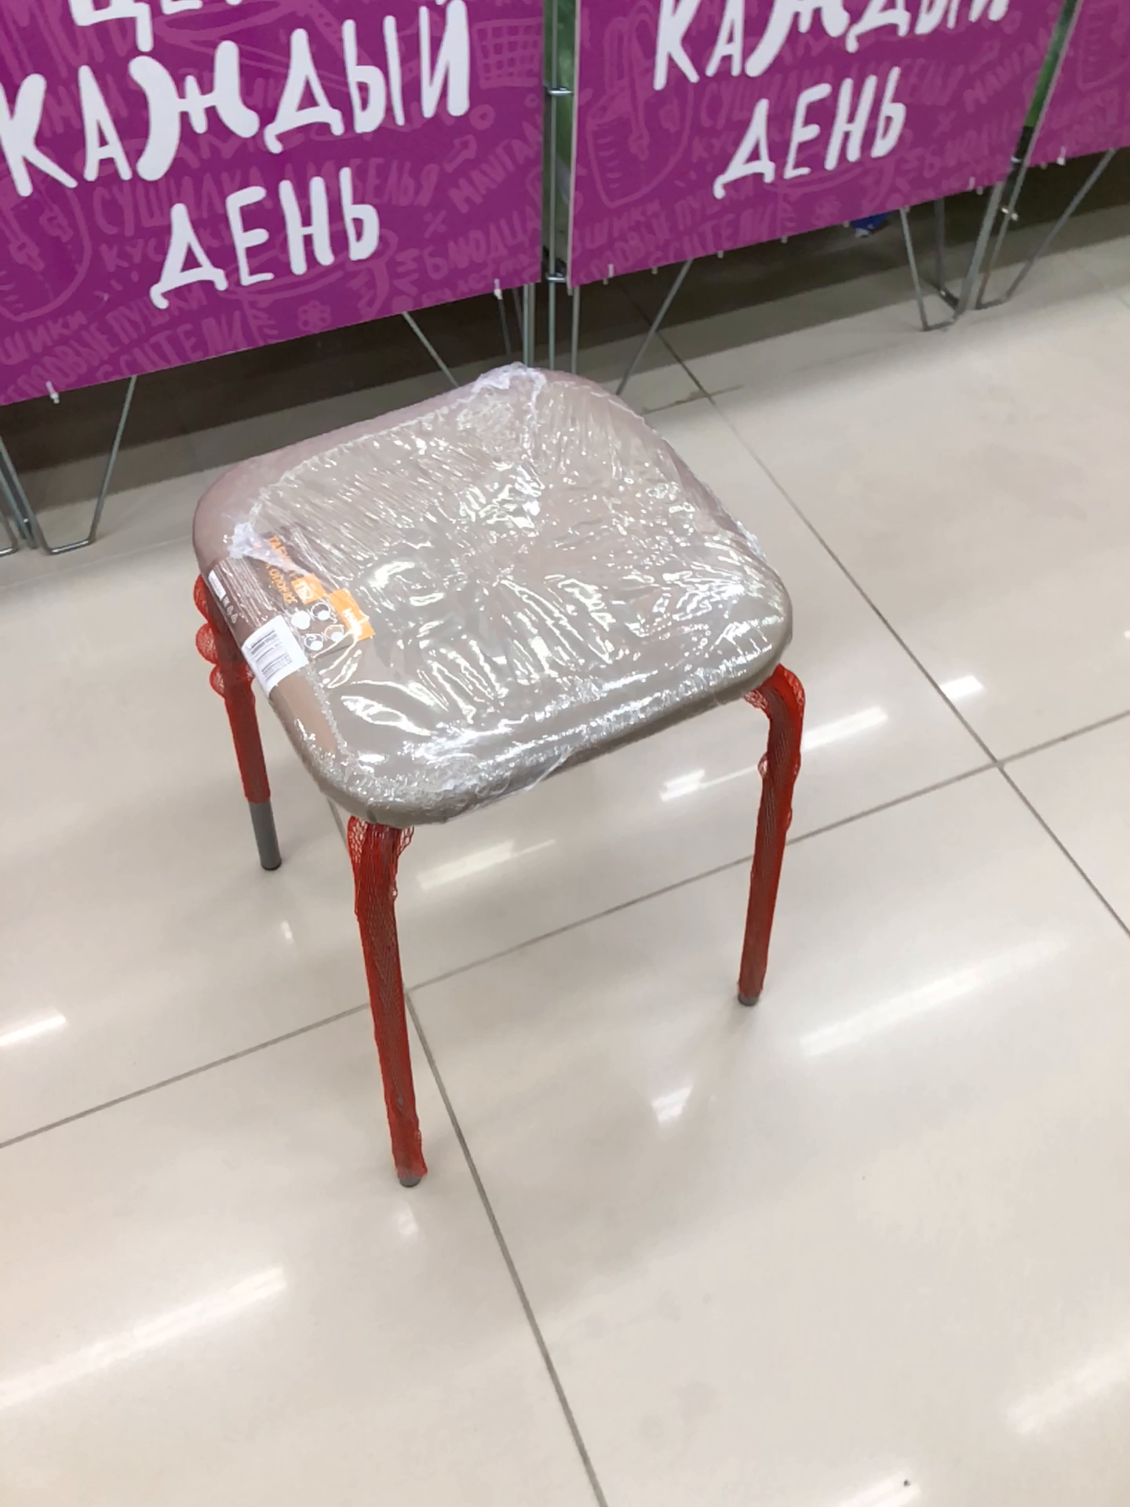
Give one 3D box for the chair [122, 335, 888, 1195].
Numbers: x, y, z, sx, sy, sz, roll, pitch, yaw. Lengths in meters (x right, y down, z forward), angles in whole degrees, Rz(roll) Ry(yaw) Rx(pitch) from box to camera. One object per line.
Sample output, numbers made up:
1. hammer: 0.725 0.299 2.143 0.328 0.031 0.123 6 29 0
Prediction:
1. chair: -0.050 0.022 0.889 0.331 0.437 0.331 -23 57 -17
